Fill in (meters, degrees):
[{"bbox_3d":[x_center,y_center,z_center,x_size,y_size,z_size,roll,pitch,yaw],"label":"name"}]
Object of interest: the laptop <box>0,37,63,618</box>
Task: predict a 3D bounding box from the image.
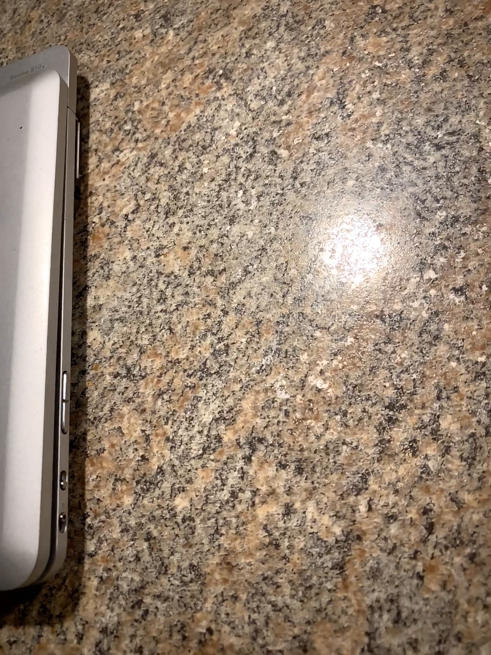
[{"bbox_3d":[-0.192,0.002,0.206,0.267,0.005,0.194,-11,68,16],"label":"laptop"}]
